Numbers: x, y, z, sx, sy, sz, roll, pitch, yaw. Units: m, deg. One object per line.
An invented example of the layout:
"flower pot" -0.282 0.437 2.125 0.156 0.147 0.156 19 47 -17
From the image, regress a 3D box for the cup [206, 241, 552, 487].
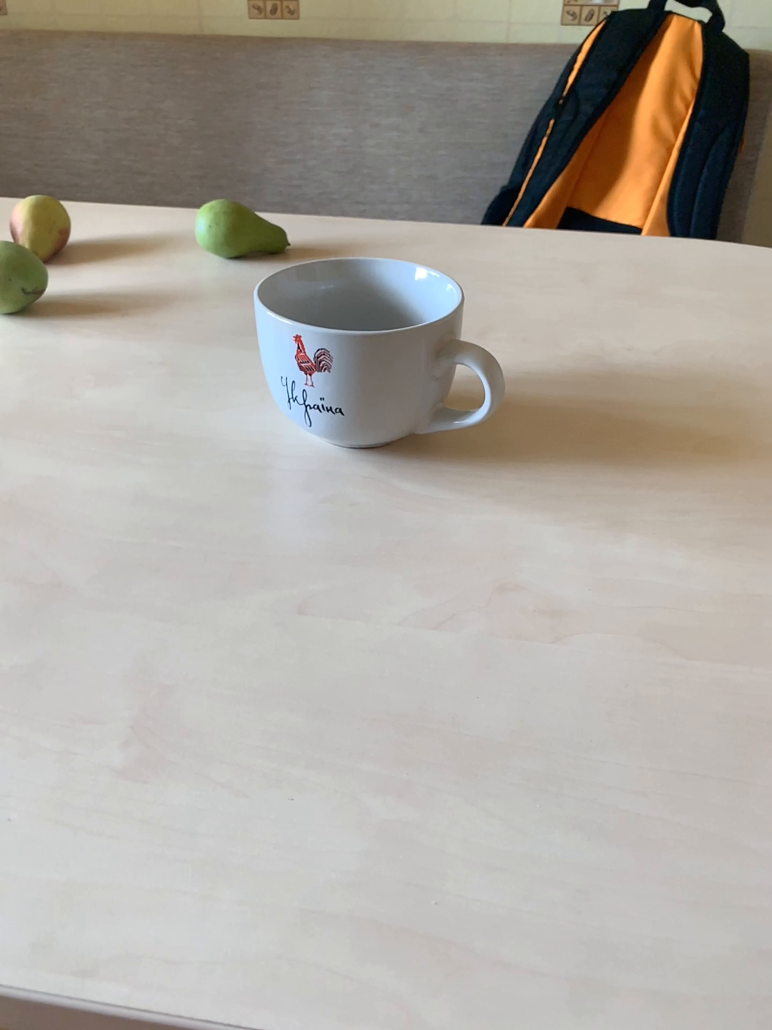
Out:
"cup" -0.002 -0.082 0.394 0.130 0.060 0.100 20 40 26
